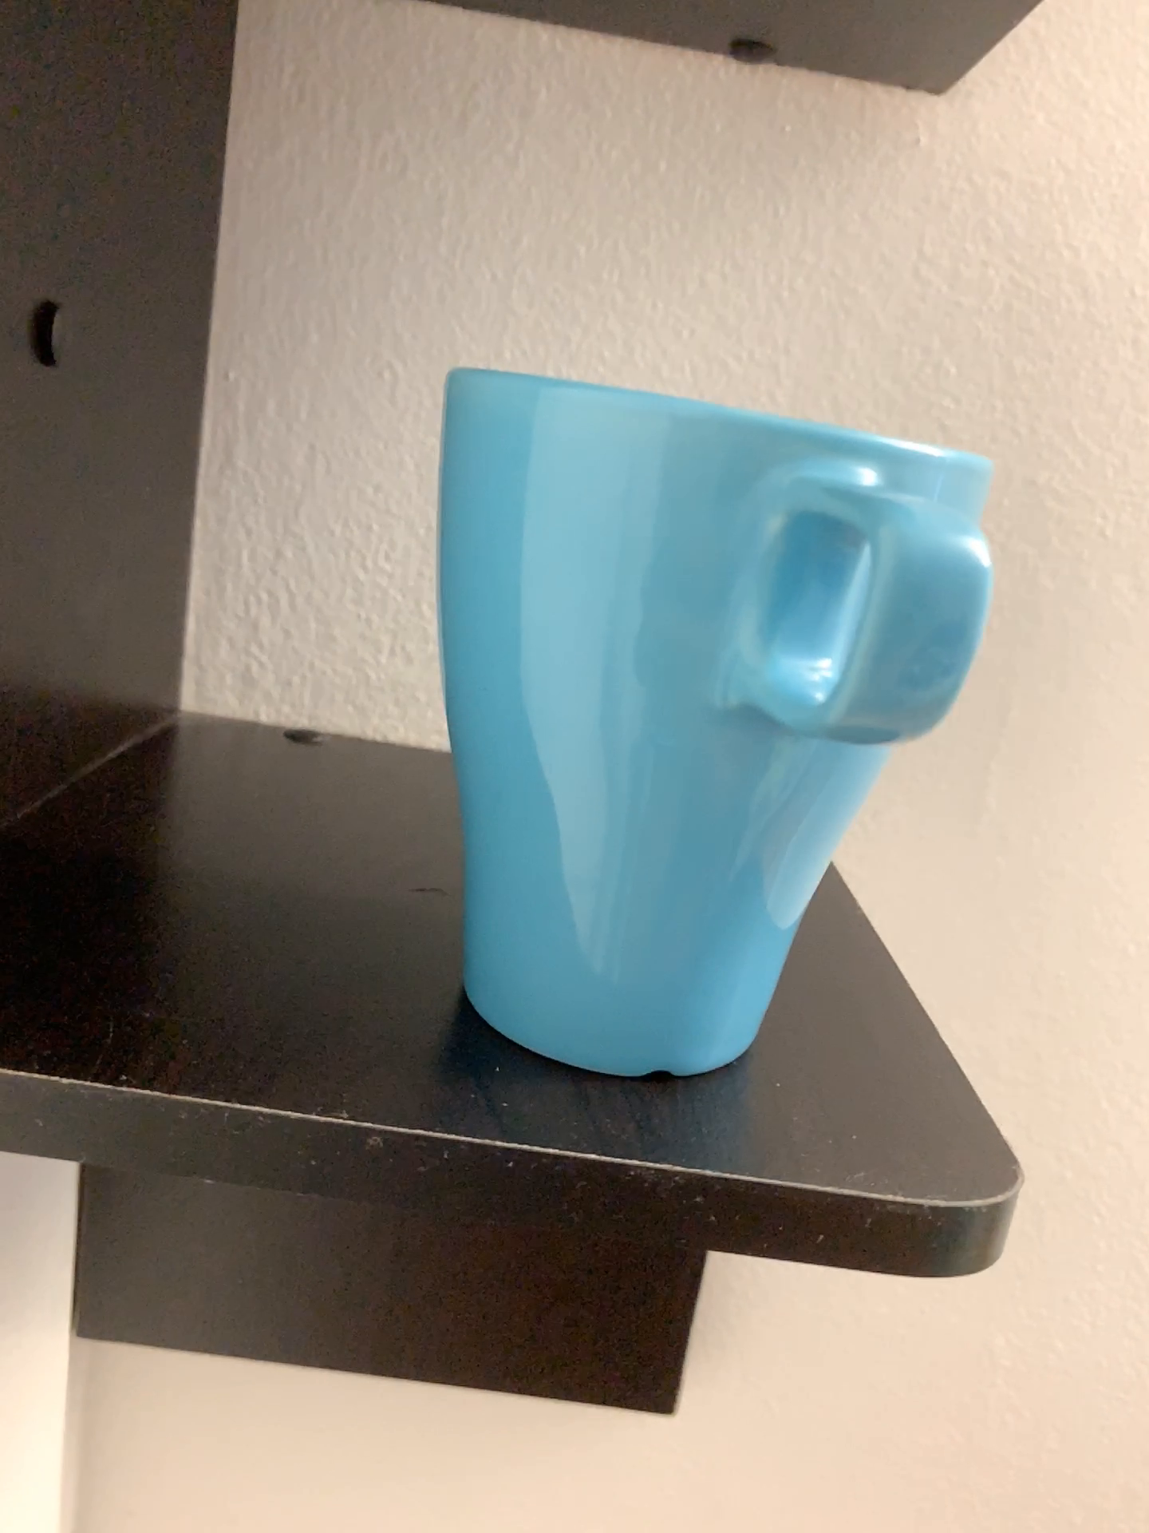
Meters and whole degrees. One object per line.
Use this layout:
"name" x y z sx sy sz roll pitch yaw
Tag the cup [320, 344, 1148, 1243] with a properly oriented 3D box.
"cup" 0.025 -0.008 0.183 0.090 0.090 0.110 2 16 -28
